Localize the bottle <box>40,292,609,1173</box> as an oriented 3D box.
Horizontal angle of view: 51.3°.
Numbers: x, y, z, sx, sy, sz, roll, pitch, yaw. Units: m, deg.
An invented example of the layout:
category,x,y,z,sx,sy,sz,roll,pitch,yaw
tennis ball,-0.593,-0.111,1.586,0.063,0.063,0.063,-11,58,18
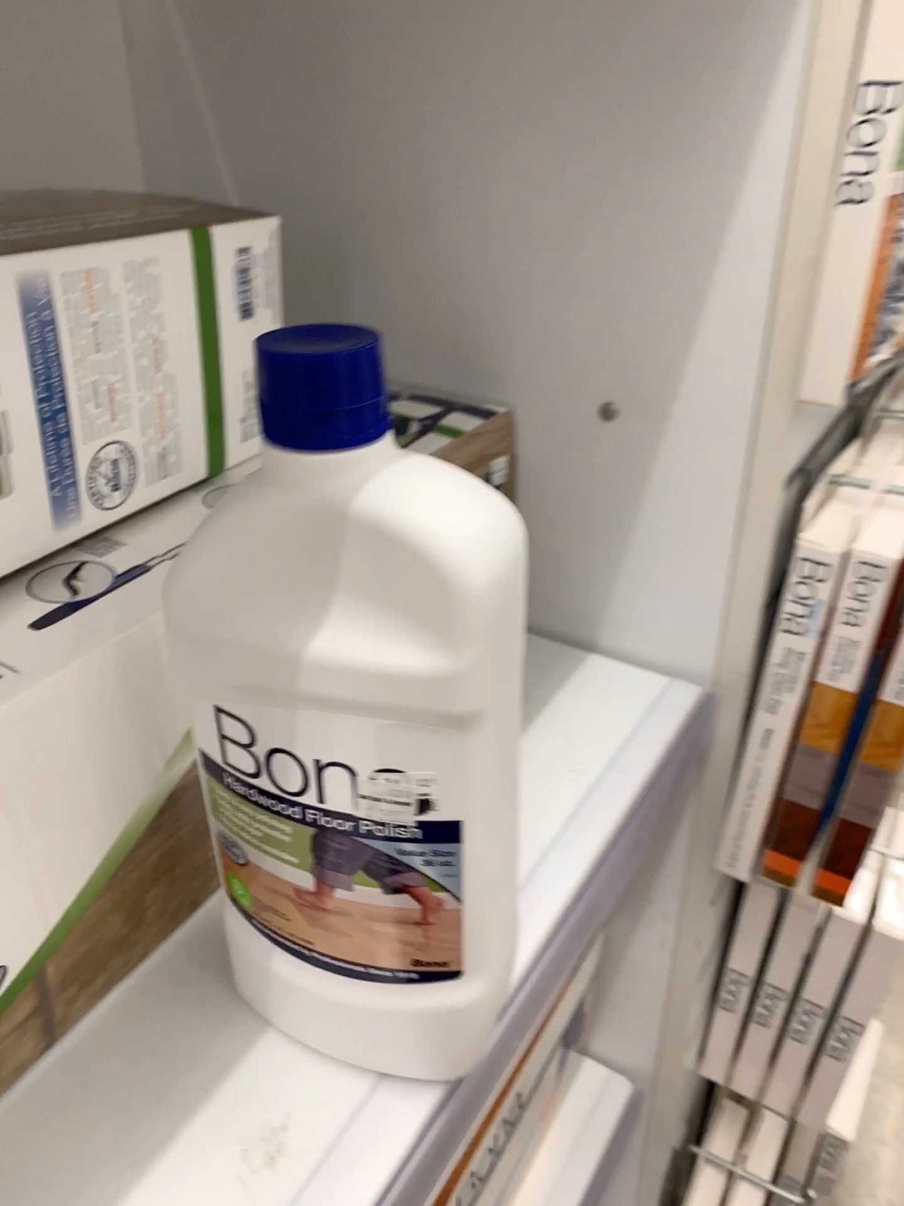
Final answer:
category,x,y,z,sx,sy,sz,roll,pitch,yaw
bottle,-0.028,0.048,0.294,0.120,0.259,0.070,11,31,18
